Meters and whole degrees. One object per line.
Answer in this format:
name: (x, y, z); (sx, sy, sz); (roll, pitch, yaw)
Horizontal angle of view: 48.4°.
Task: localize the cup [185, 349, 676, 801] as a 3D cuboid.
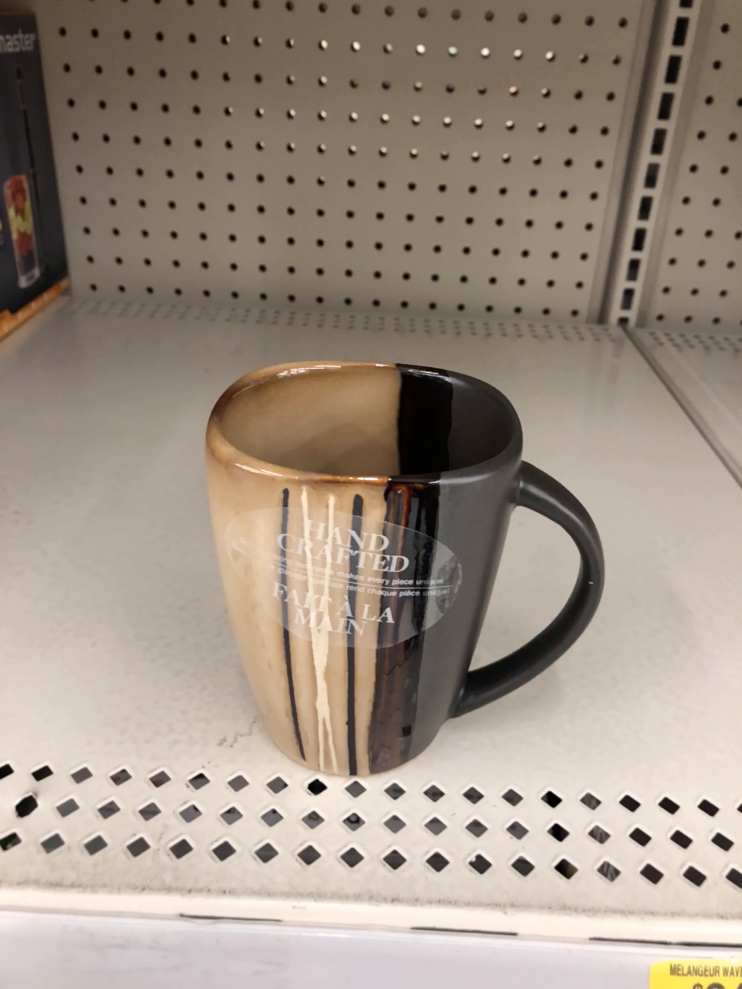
cup: (0.013, 0.023, 0.266); (0.120, 0.110, 0.087); (2, 29, -1)
